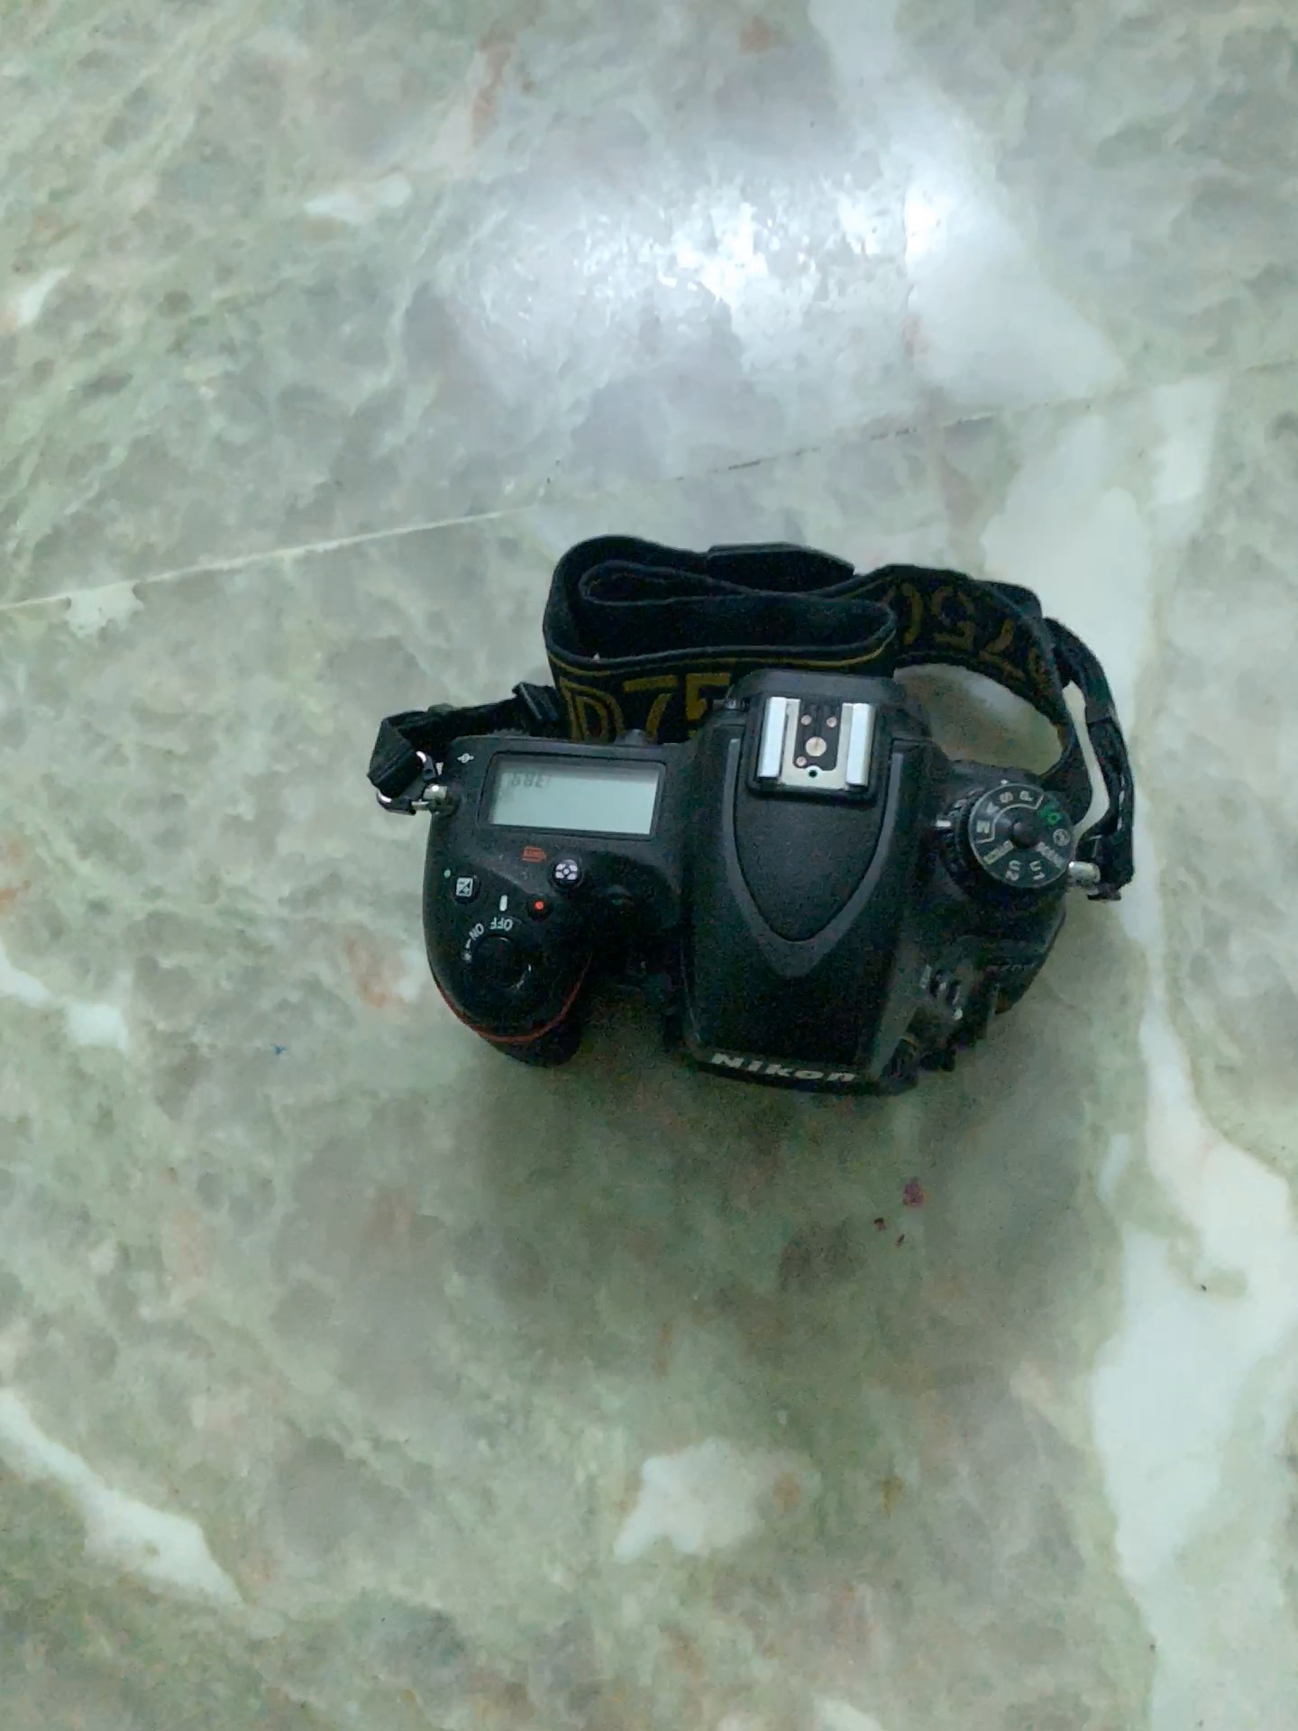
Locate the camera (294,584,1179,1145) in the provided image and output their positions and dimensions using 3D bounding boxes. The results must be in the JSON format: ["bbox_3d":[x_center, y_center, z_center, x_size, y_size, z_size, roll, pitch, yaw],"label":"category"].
[{"bbox_3d":[0.021,0.005,0.286,0.150,0.100,0.080,5,73,8],"label":"camera"}]
